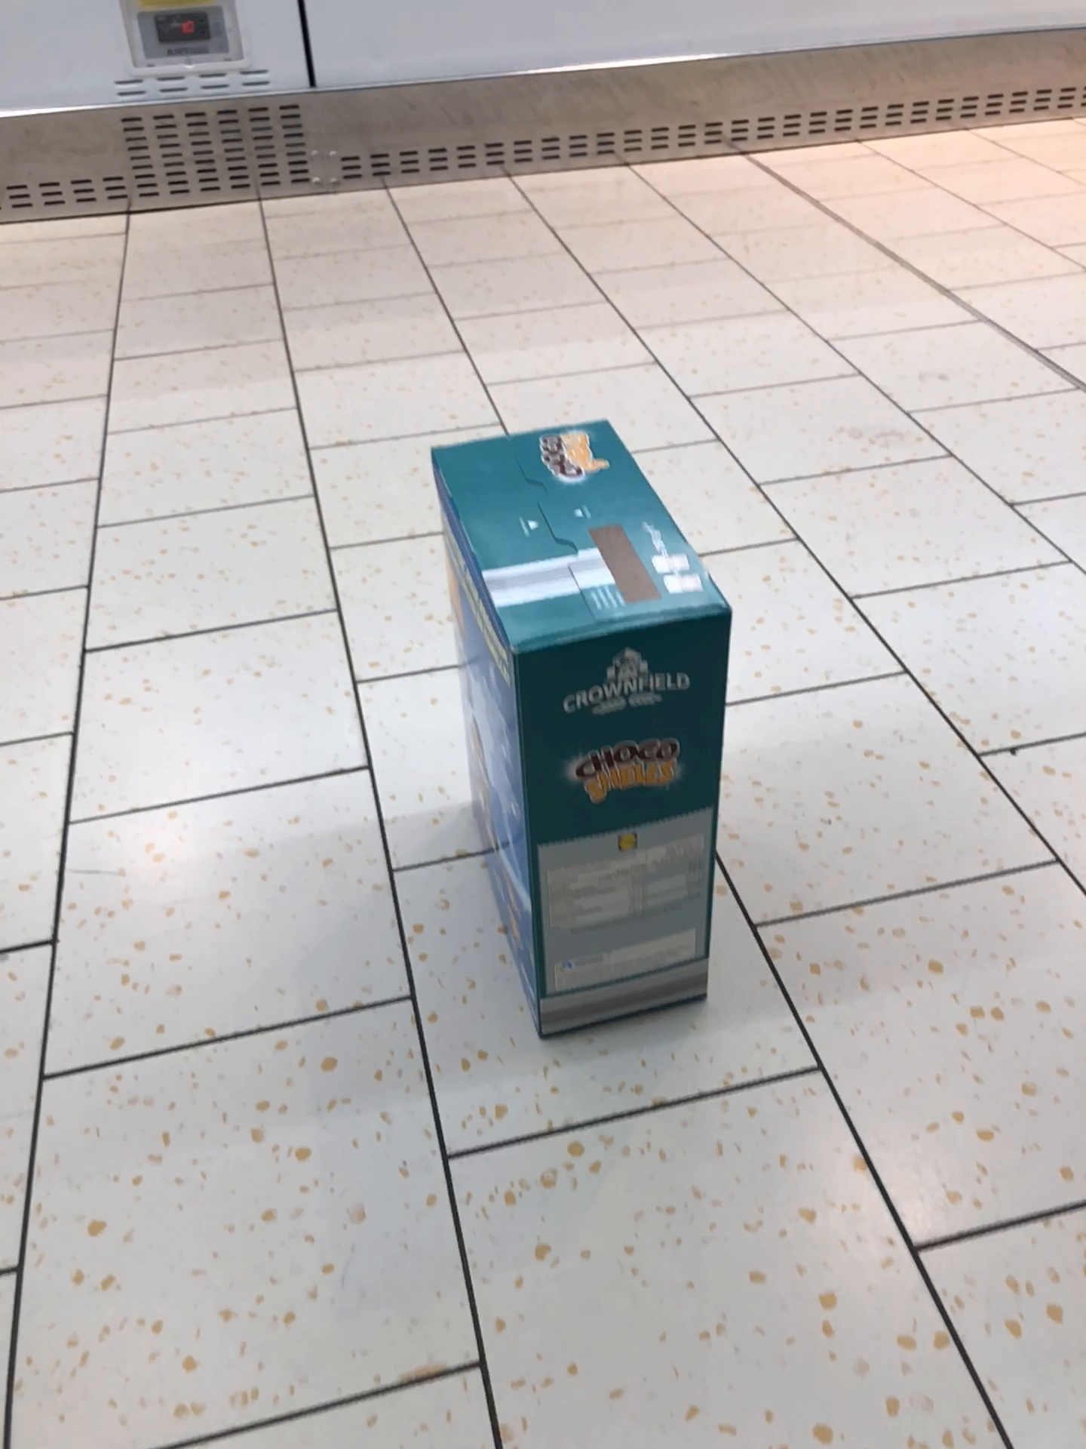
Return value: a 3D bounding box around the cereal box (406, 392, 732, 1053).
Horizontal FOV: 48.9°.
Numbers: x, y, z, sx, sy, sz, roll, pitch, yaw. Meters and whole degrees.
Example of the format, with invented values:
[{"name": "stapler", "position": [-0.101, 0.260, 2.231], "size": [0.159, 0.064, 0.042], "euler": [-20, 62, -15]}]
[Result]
[{"name": "cereal box", "position": [0.007, -0.003, 0.641], "size": [0.100, 0.268, 0.211], "euler": [-11, 39, -10]}]
